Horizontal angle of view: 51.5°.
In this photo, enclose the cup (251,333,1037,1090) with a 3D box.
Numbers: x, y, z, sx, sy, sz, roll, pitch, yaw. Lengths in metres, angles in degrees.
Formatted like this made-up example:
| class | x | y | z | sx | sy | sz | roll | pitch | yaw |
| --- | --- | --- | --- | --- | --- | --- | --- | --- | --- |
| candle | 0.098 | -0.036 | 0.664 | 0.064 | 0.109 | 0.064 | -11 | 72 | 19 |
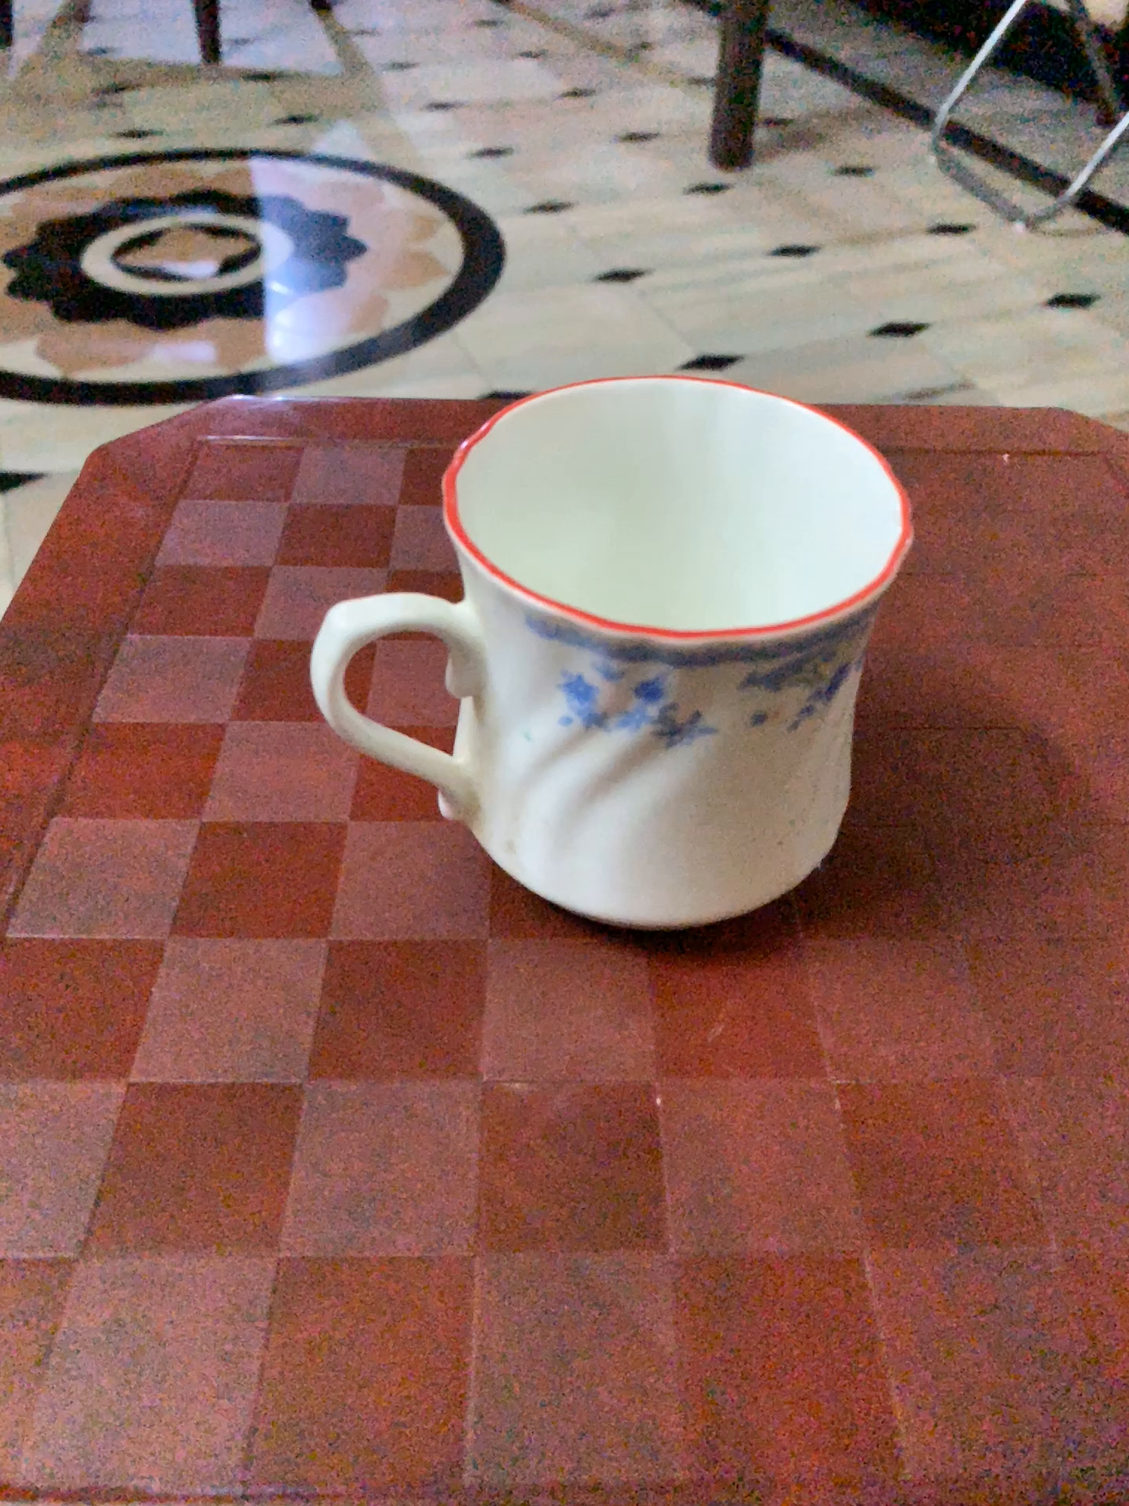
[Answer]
| class | x | y | z | sx | sy | sz | roll | pitch | yaw |
| --- | --- | --- | --- | --- | --- | --- | --- | --- | --- |
| cup | 0.007 | -0.009 | 0.193 | 0.090 | 0.080 | 0.070 | -15 | 46 | -16 |
